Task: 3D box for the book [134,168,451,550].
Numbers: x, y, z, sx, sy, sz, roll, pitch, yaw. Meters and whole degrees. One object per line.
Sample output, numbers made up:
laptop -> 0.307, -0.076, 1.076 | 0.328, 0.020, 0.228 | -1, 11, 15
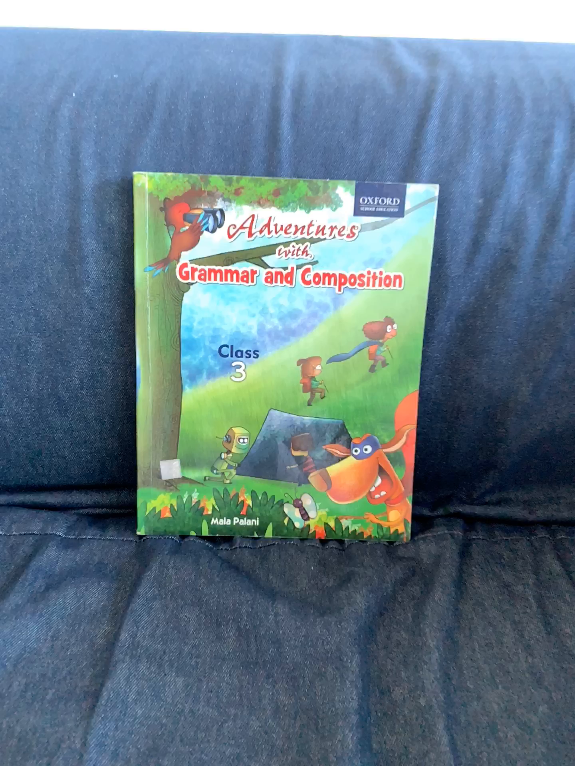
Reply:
book -> -0.001, -0.011, 0.434 | 0.212, 0.269, 0.030 | 2, 12, 0
